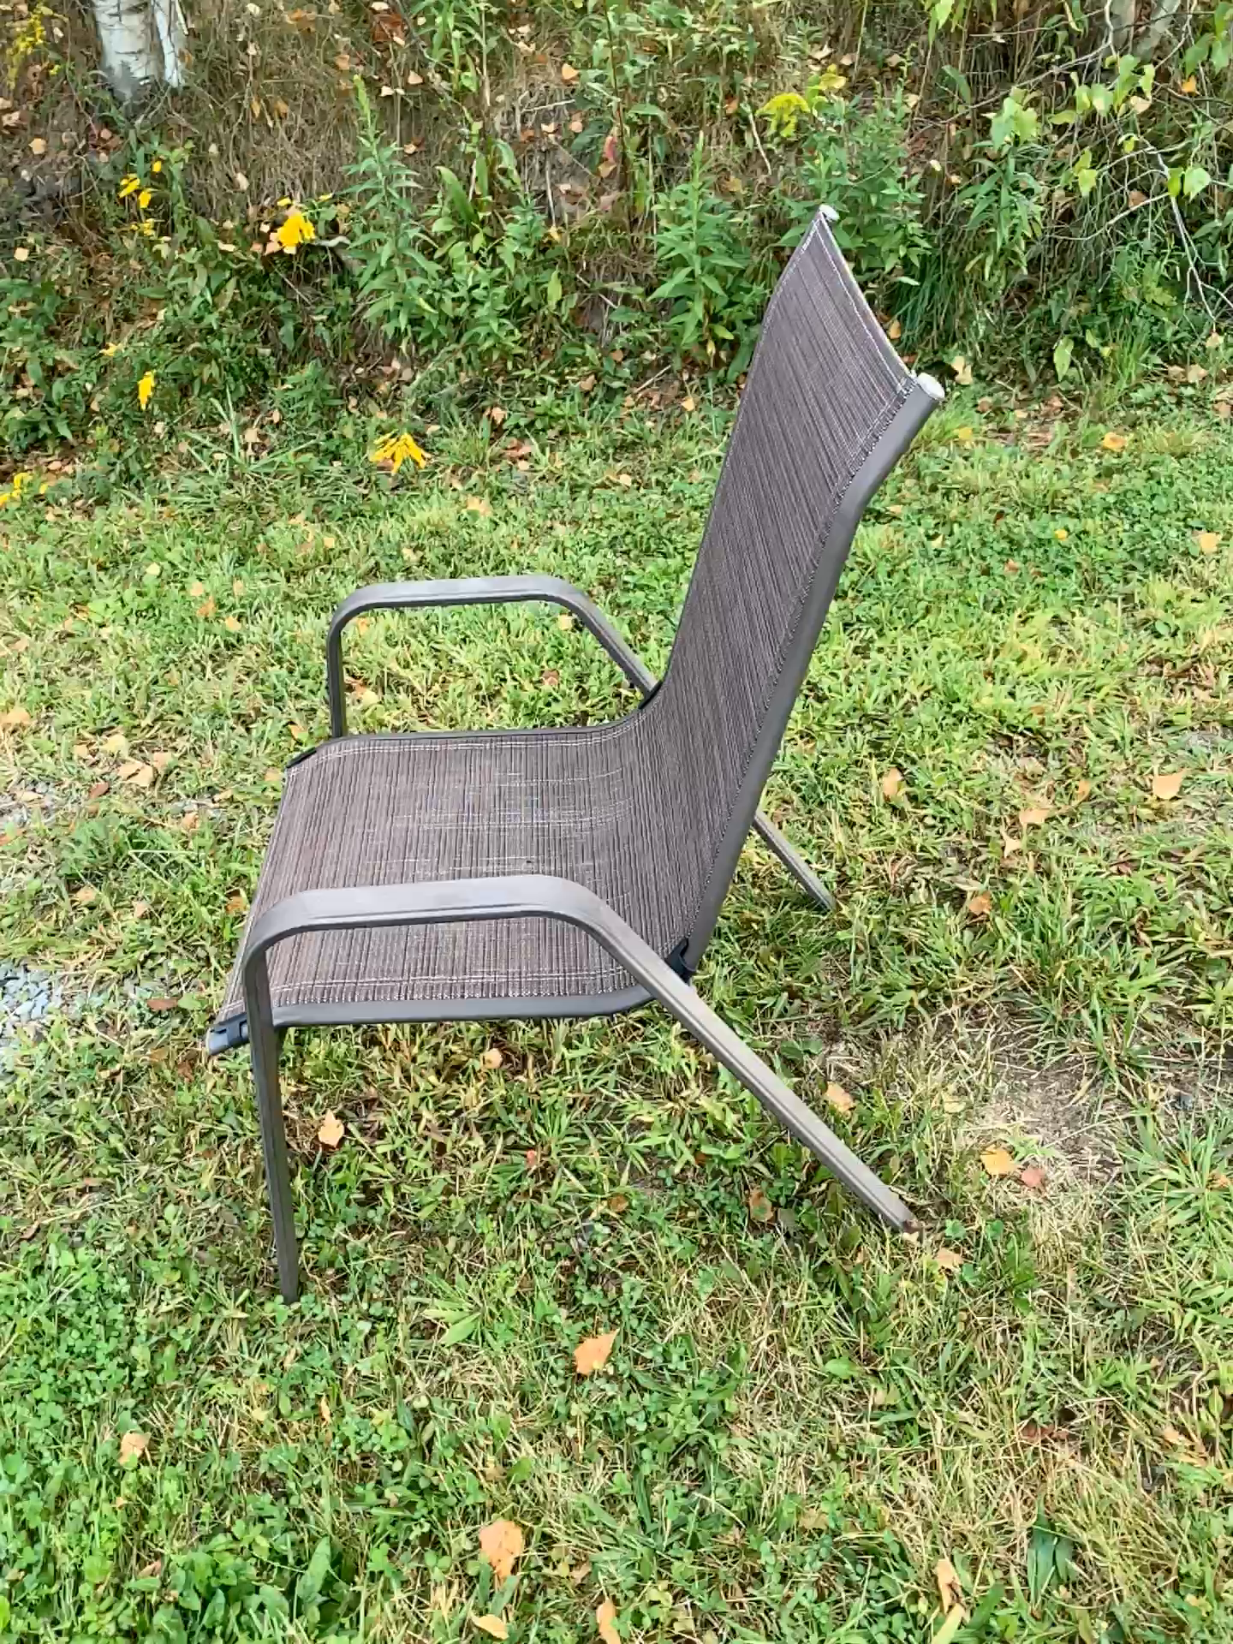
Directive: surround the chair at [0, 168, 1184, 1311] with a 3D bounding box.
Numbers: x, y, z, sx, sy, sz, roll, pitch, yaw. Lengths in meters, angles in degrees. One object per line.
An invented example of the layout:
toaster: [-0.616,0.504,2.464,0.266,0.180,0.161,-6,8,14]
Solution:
chair: [-0.051,-0.073,1.225,0.740,0.875,0.623,-3,38,-2]
